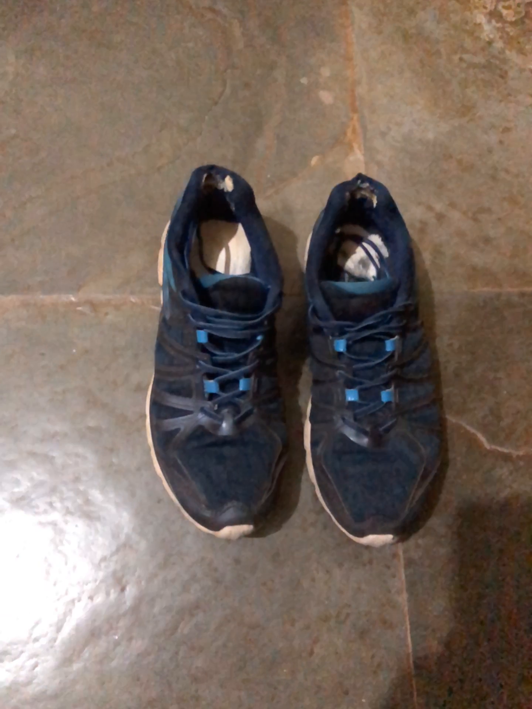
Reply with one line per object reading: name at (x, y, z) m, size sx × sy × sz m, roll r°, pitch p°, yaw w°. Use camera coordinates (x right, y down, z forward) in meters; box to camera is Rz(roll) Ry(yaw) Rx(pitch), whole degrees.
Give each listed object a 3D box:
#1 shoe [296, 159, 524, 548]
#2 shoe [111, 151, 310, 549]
shoe at (0.094, 0.001, 0.458) m, size 0.120 × 0.110 × 0.281 m, roll 0°, pitch 72°, yaw -3°
shoe at (-0.043, -0.002, 0.450) m, size 0.120 × 0.110 × 0.281 m, roll -2°, pitch 72°, yaw -4°
